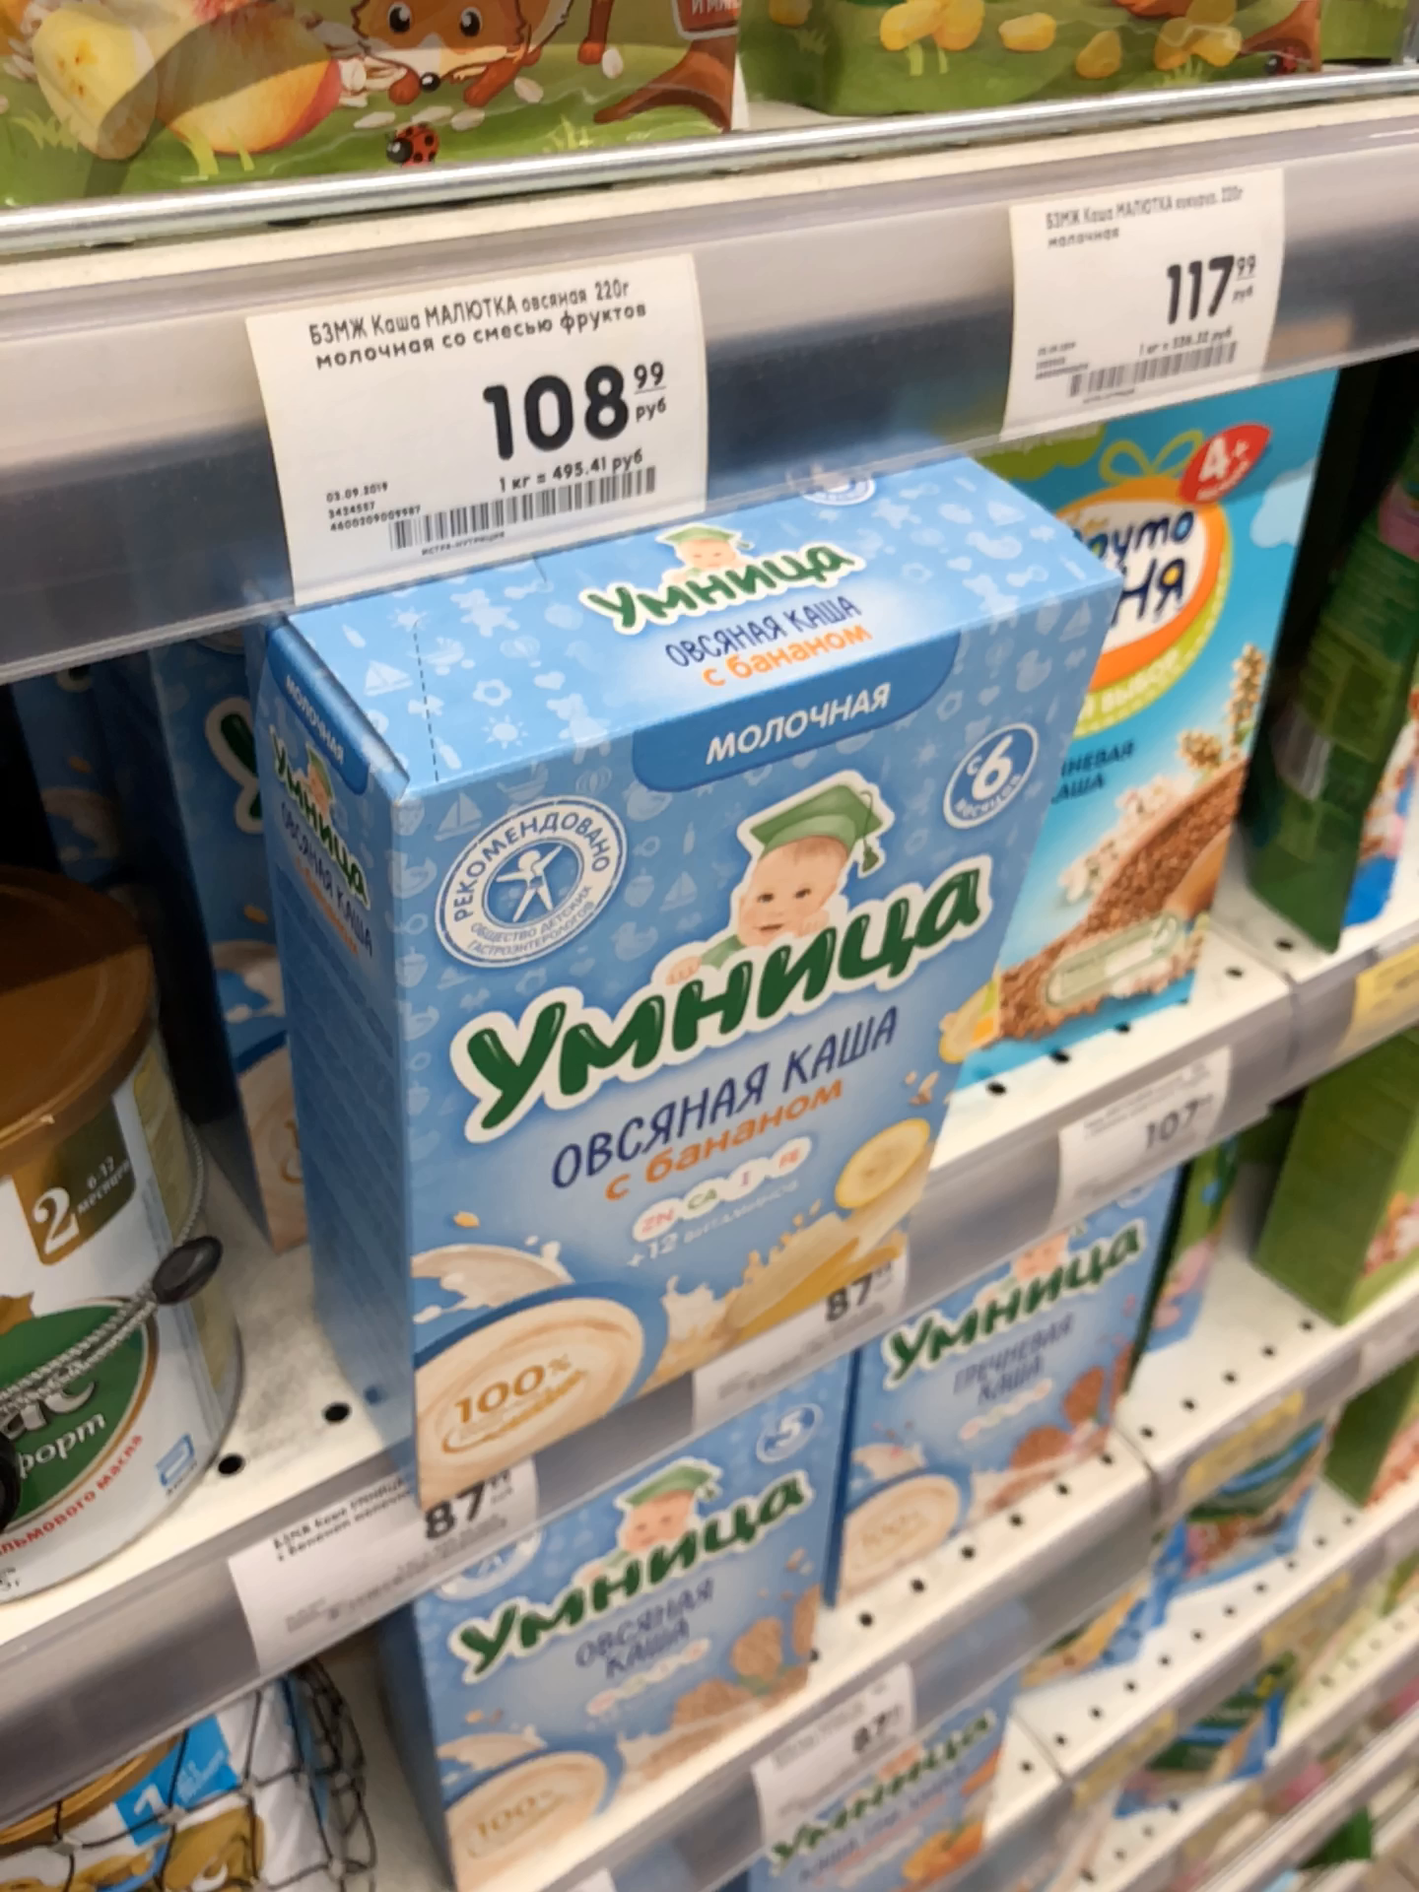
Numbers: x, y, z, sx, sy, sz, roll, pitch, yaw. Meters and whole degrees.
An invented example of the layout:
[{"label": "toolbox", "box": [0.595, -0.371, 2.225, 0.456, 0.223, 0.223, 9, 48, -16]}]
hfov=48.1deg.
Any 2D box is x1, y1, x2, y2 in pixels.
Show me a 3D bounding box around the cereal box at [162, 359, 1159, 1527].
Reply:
[{"label": "cereal box", "box": [-0.012, 0.006, 0.323, 0.150, 0.209, 0.060, -22, 50, -27]}]
